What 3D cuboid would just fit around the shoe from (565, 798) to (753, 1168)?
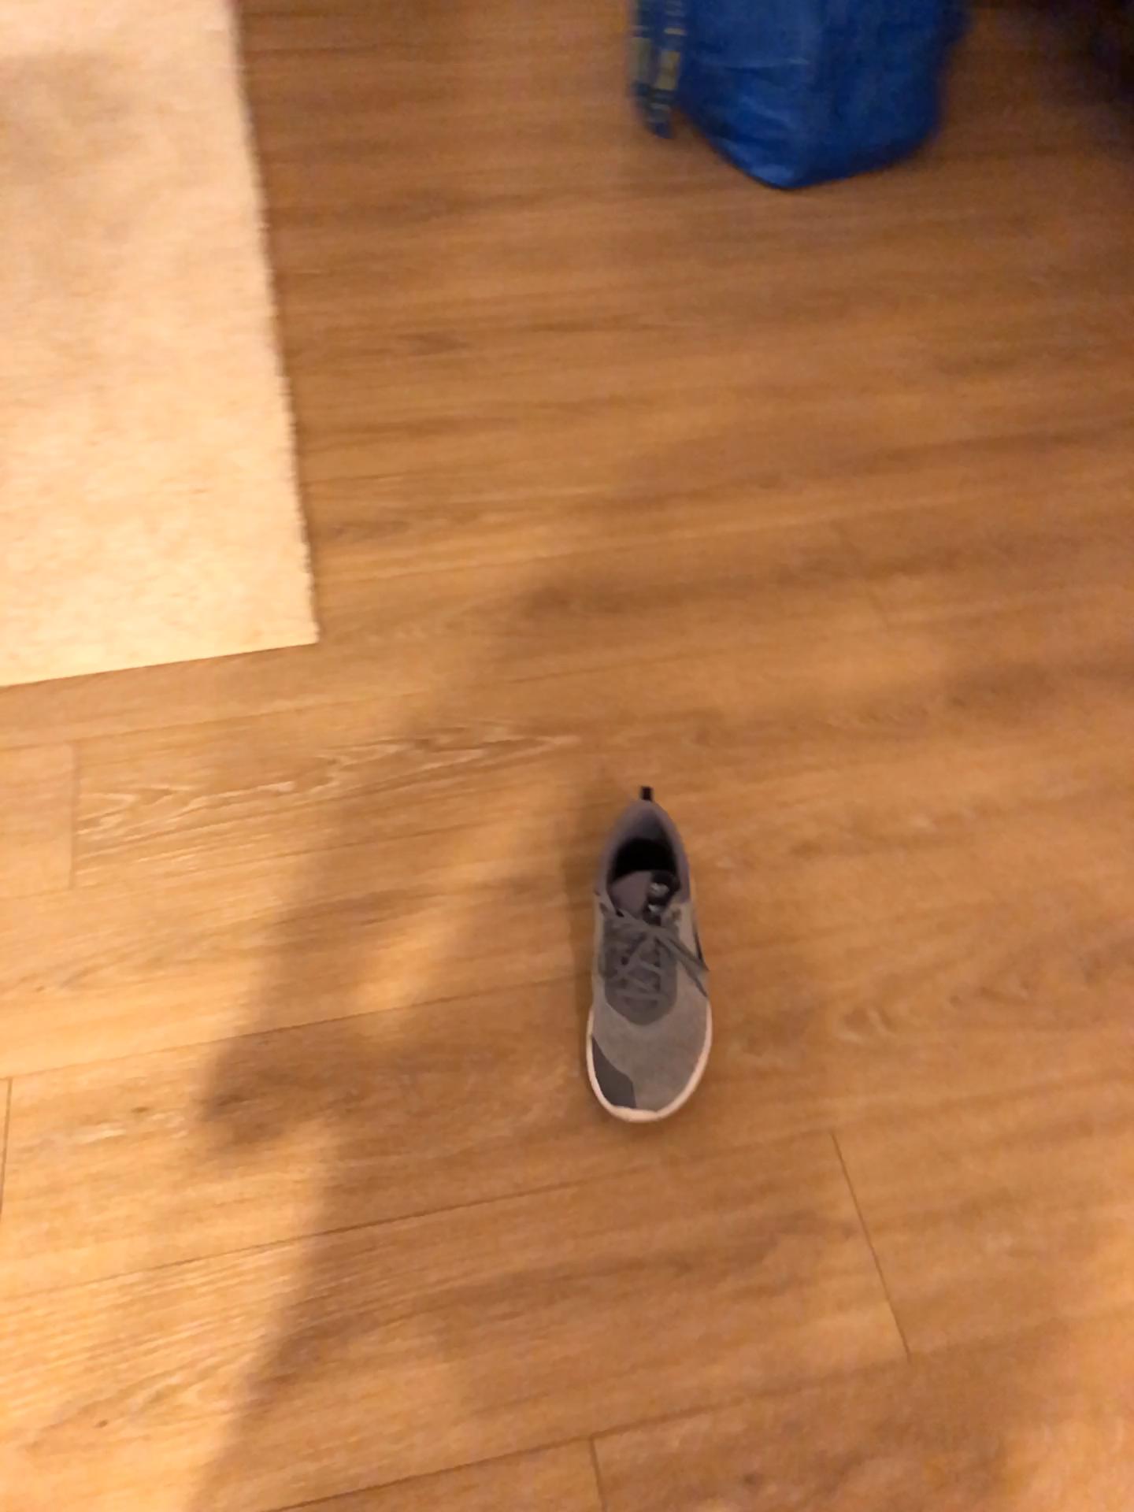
[{"bbox_3d":[0.086,0.192,1.098,0.140,0.090,0.302,6,52,3],"label":"shoe"}]
